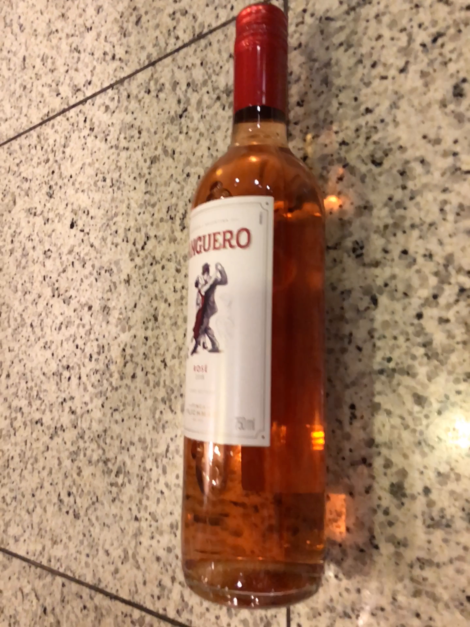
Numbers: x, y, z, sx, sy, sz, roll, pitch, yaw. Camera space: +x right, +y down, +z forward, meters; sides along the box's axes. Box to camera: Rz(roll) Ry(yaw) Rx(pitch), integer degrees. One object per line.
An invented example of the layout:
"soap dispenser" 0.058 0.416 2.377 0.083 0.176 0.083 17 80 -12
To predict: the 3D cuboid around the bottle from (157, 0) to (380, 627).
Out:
"bottle" 0.017 -0.031 0.271 0.090 0.060 0.320 -5 81 39
